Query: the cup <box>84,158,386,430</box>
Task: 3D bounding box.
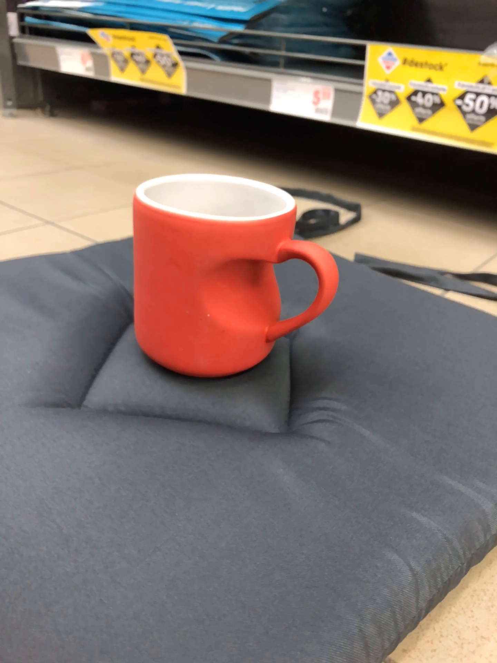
[{"bbox_3d":[-0.009,-0.030,0.296,0.120,0.089,0.091,23,33,30],"label":"cup"}]
